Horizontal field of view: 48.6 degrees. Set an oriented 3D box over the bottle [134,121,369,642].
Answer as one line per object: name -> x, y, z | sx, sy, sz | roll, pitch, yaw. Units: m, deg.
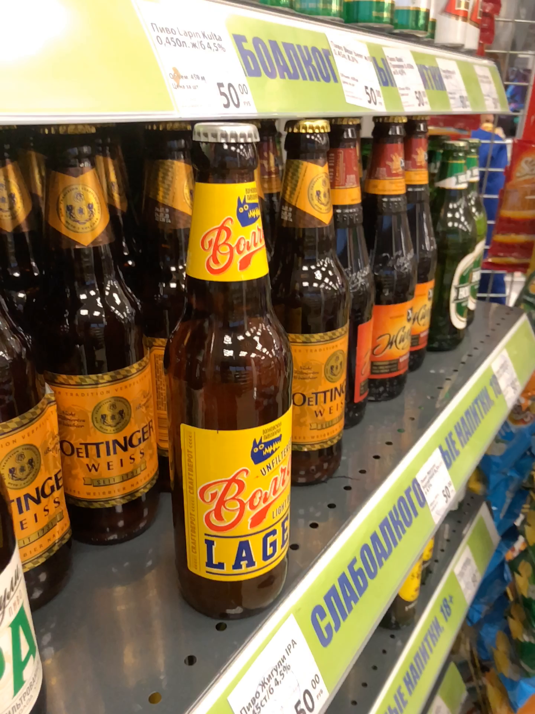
bottle -> -0.010, 0.013, 0.295 | 0.070, 0.239, 0.070 | 1, 23, -1
